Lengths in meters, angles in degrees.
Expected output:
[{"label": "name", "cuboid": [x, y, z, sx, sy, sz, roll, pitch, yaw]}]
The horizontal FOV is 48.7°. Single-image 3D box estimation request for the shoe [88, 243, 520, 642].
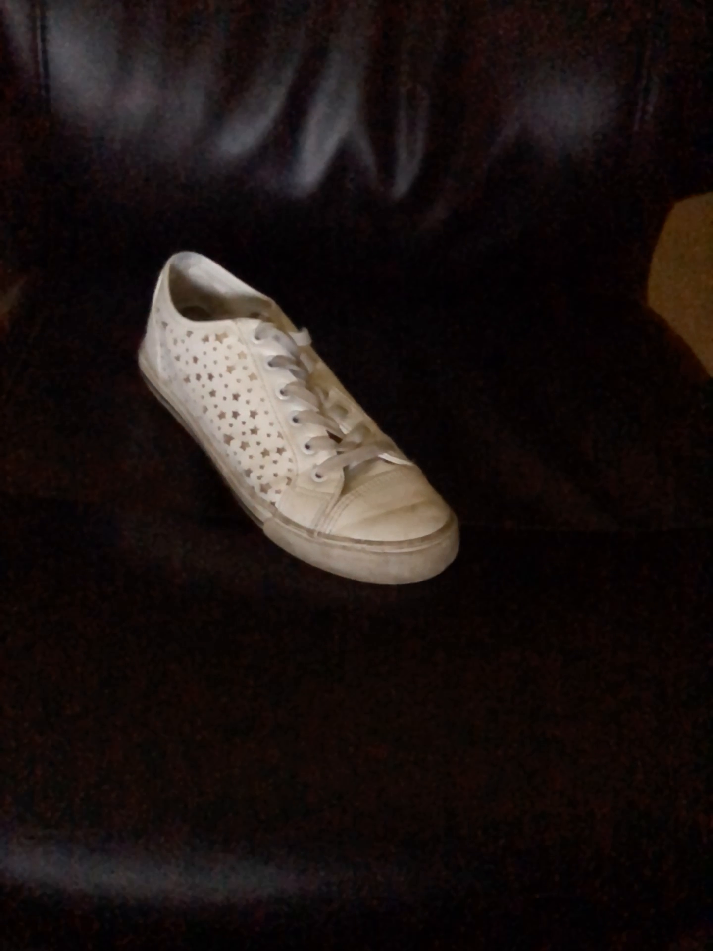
[{"label": "shoe", "cuboid": [-0.045, -0.039, 0.463, 0.101, 0.099, 0.260, -24, 45, -33]}]
